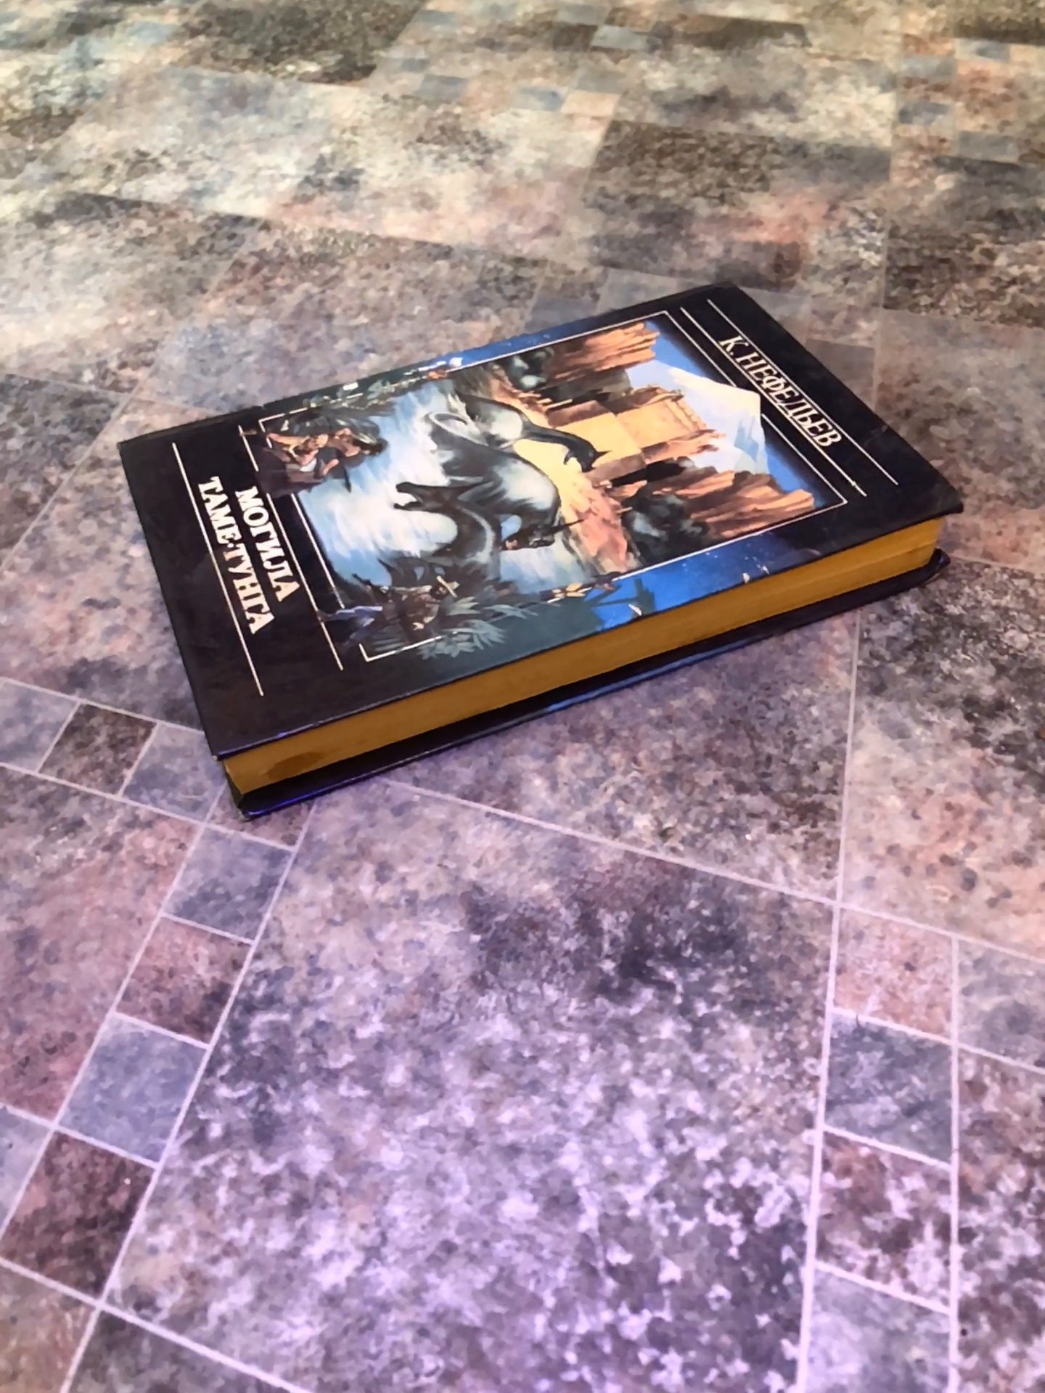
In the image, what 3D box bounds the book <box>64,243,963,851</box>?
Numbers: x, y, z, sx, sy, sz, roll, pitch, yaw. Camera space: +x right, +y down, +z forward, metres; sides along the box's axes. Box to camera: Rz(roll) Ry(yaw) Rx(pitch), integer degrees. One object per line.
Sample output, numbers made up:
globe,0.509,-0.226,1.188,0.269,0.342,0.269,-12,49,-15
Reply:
book,-0.010,-0.054,0.318,0.201,0.030,0.139,-19,51,-11
